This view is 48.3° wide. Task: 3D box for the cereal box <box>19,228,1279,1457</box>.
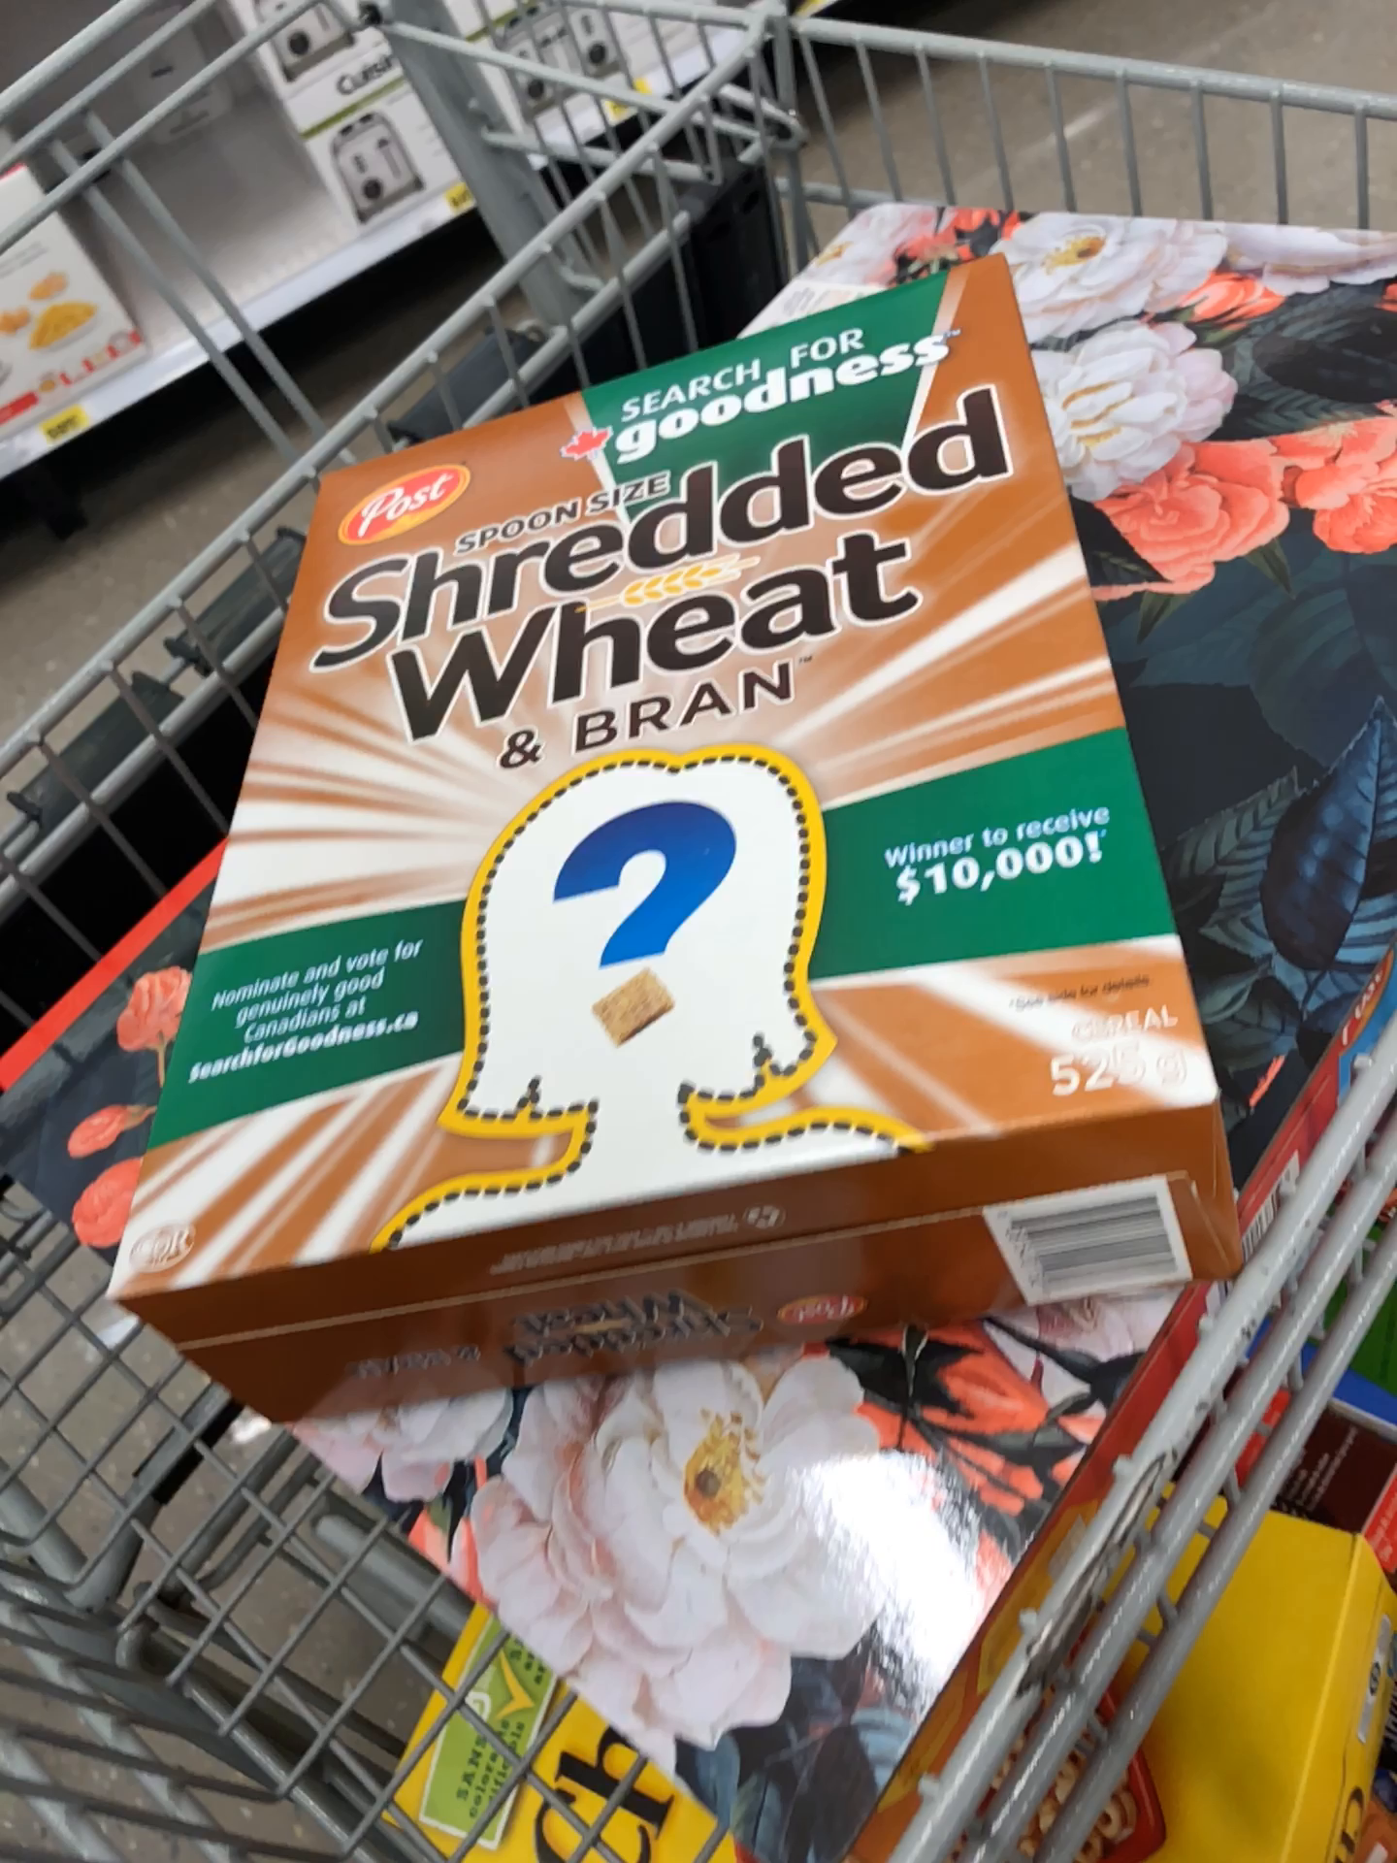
[{"bbox_3d":[-0.011,-0.044,0.388,0.220,0.070,0.301,-13,46,12],"label":"cereal box"}]
